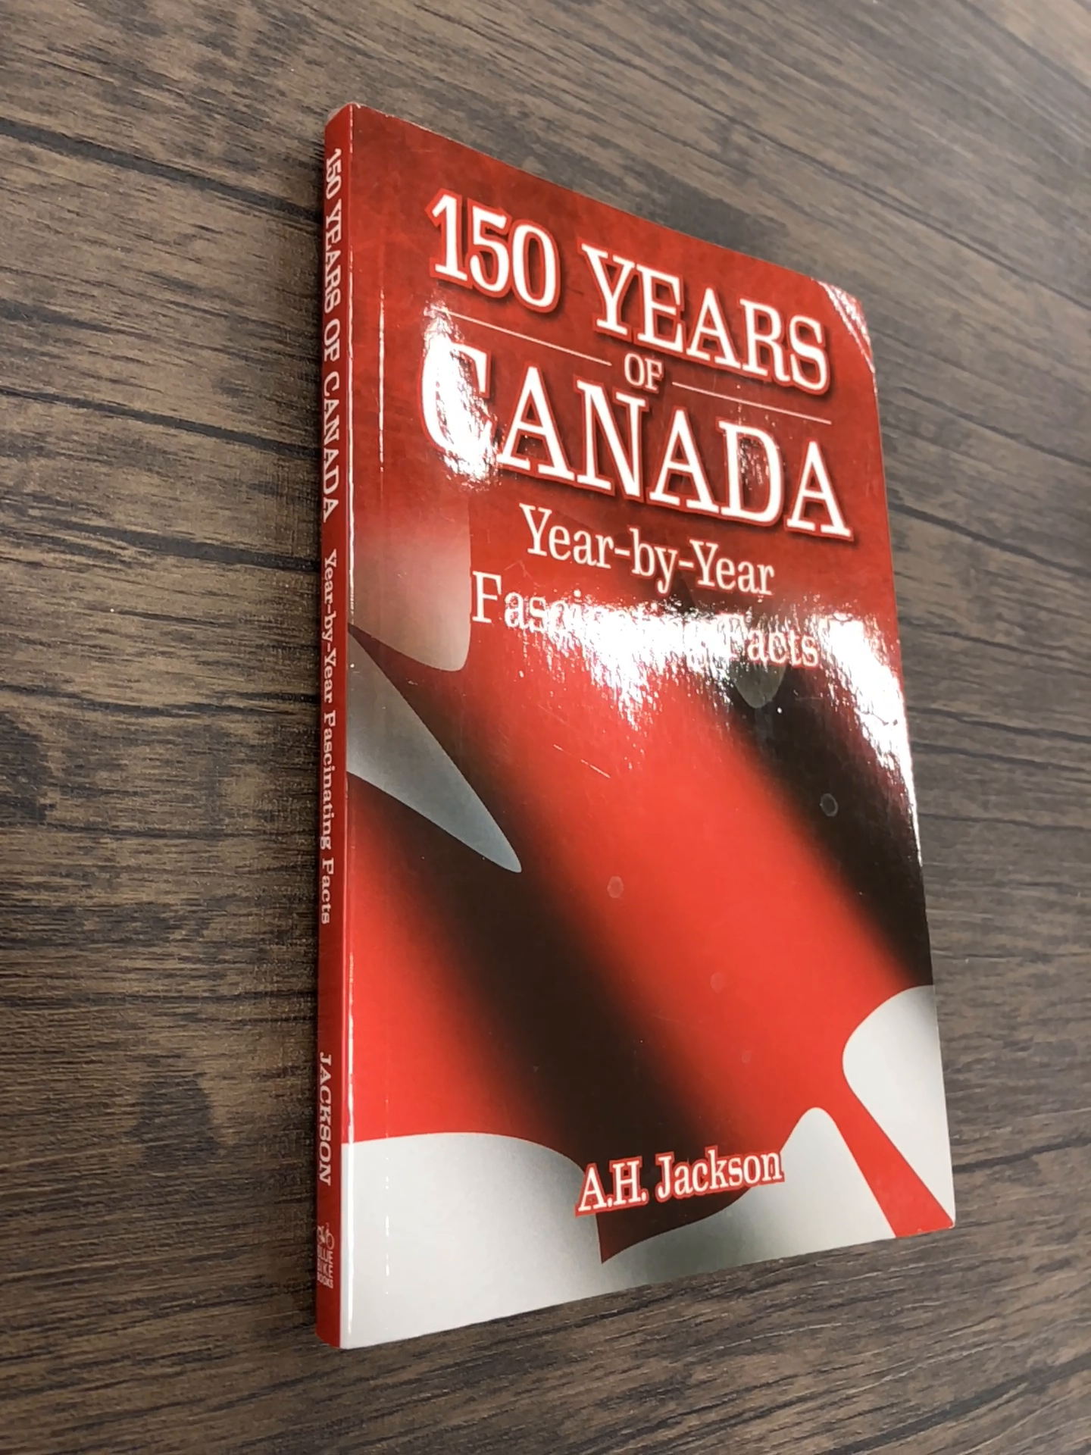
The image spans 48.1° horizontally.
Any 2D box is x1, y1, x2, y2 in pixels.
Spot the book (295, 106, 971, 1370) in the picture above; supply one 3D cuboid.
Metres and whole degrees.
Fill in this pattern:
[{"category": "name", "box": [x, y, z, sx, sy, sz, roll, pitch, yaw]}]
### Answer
[{"category": "book", "box": [0.018, -0.002, 0.240, 0.130, 0.025, 0.206, 4, 79, -30]}]
